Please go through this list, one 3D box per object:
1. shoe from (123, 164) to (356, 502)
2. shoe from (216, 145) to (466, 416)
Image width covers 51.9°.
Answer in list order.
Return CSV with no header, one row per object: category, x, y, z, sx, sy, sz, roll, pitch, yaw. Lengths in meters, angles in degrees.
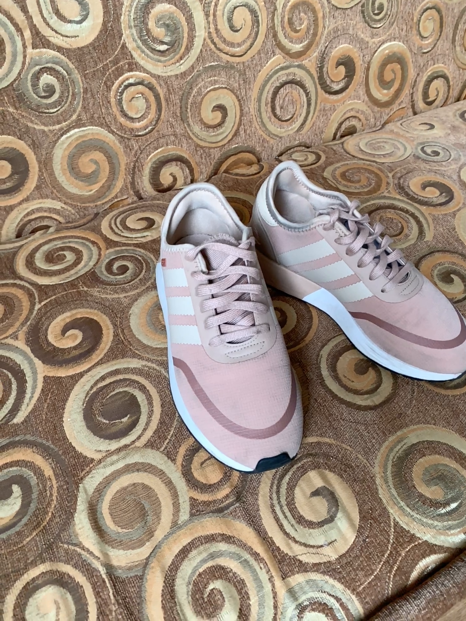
shoe,-0.012,0.002,0.386,0.100,0.090,0.251,-12,55,-12
shoe,0.111,-0.037,0.433,0.250,0.090,0.100,36,60,22
